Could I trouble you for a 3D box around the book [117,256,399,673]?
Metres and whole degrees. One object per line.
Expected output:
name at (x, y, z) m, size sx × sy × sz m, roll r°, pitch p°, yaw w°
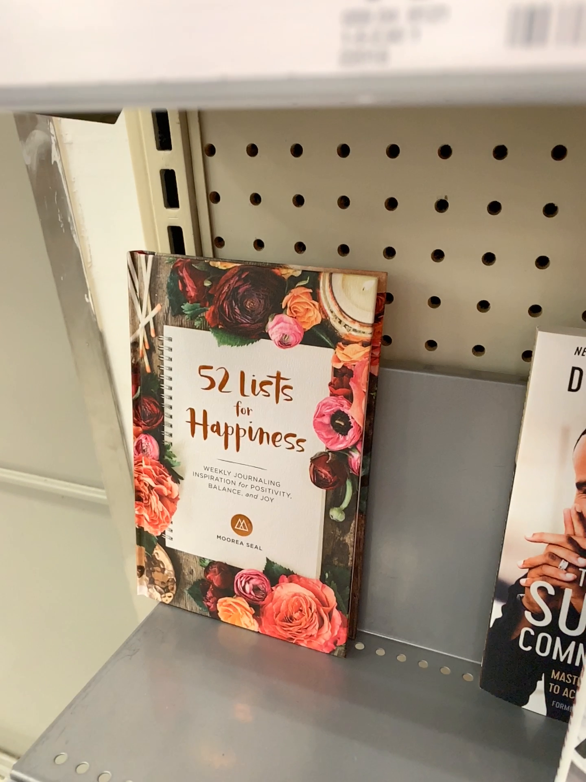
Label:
book at (-0.026, 0.040, 0.341) m, size 0.150 × 0.216 × 0.020 m, roll 9°, pitch 18°, yaw 21°
